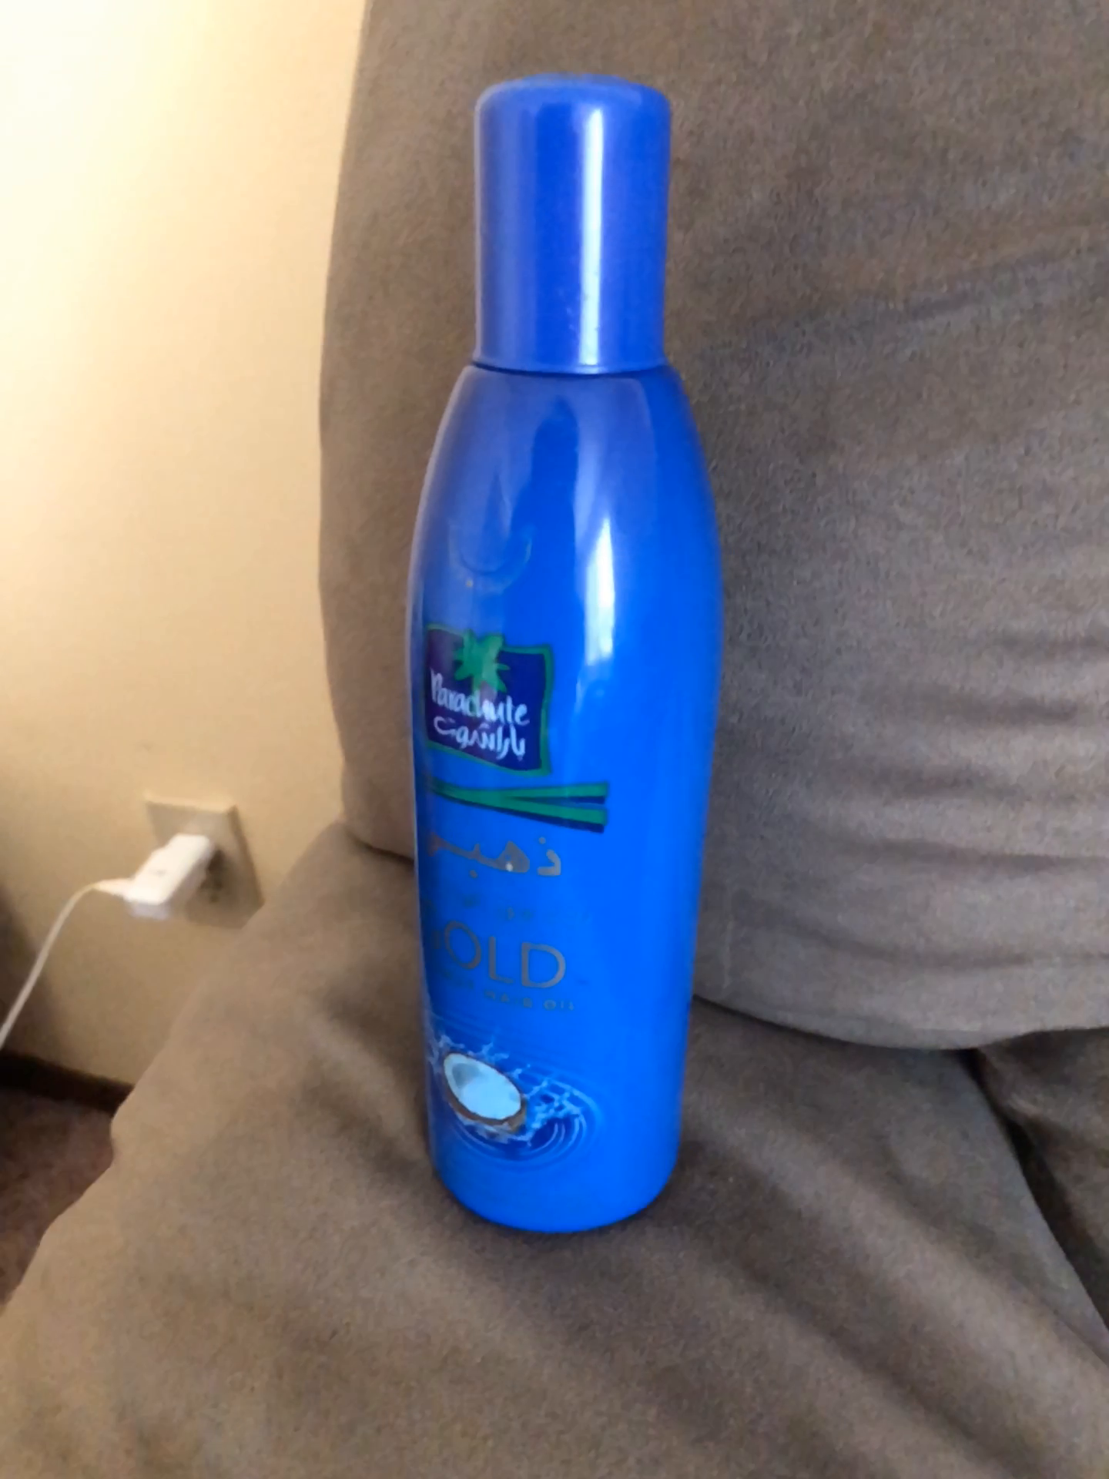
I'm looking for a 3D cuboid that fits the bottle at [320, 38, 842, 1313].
[{"bbox_3d":[0.003,-0.004,0.195,0.050,0.180,0.050,1,23,-1],"label":"bottle"}]
